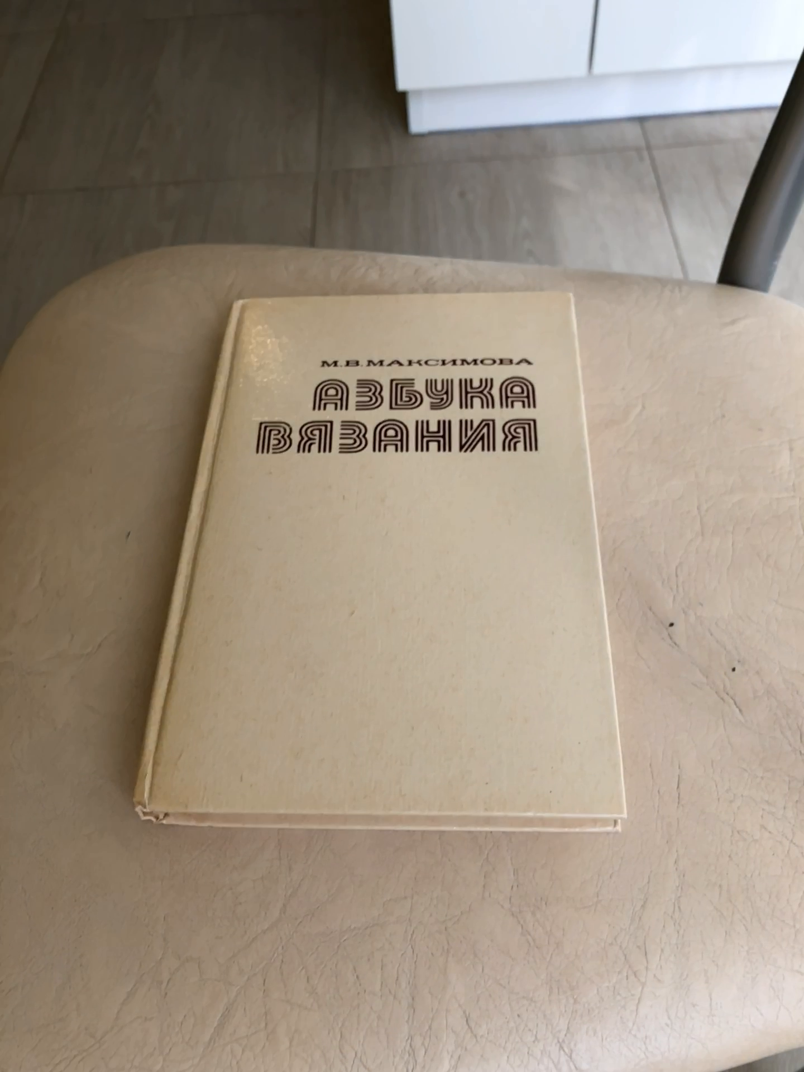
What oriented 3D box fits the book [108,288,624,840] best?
[{"bbox_3d":[-0.007,-0.005,0.325,0.148,0.024,0.219,0,56,5],"label":"book"}]
